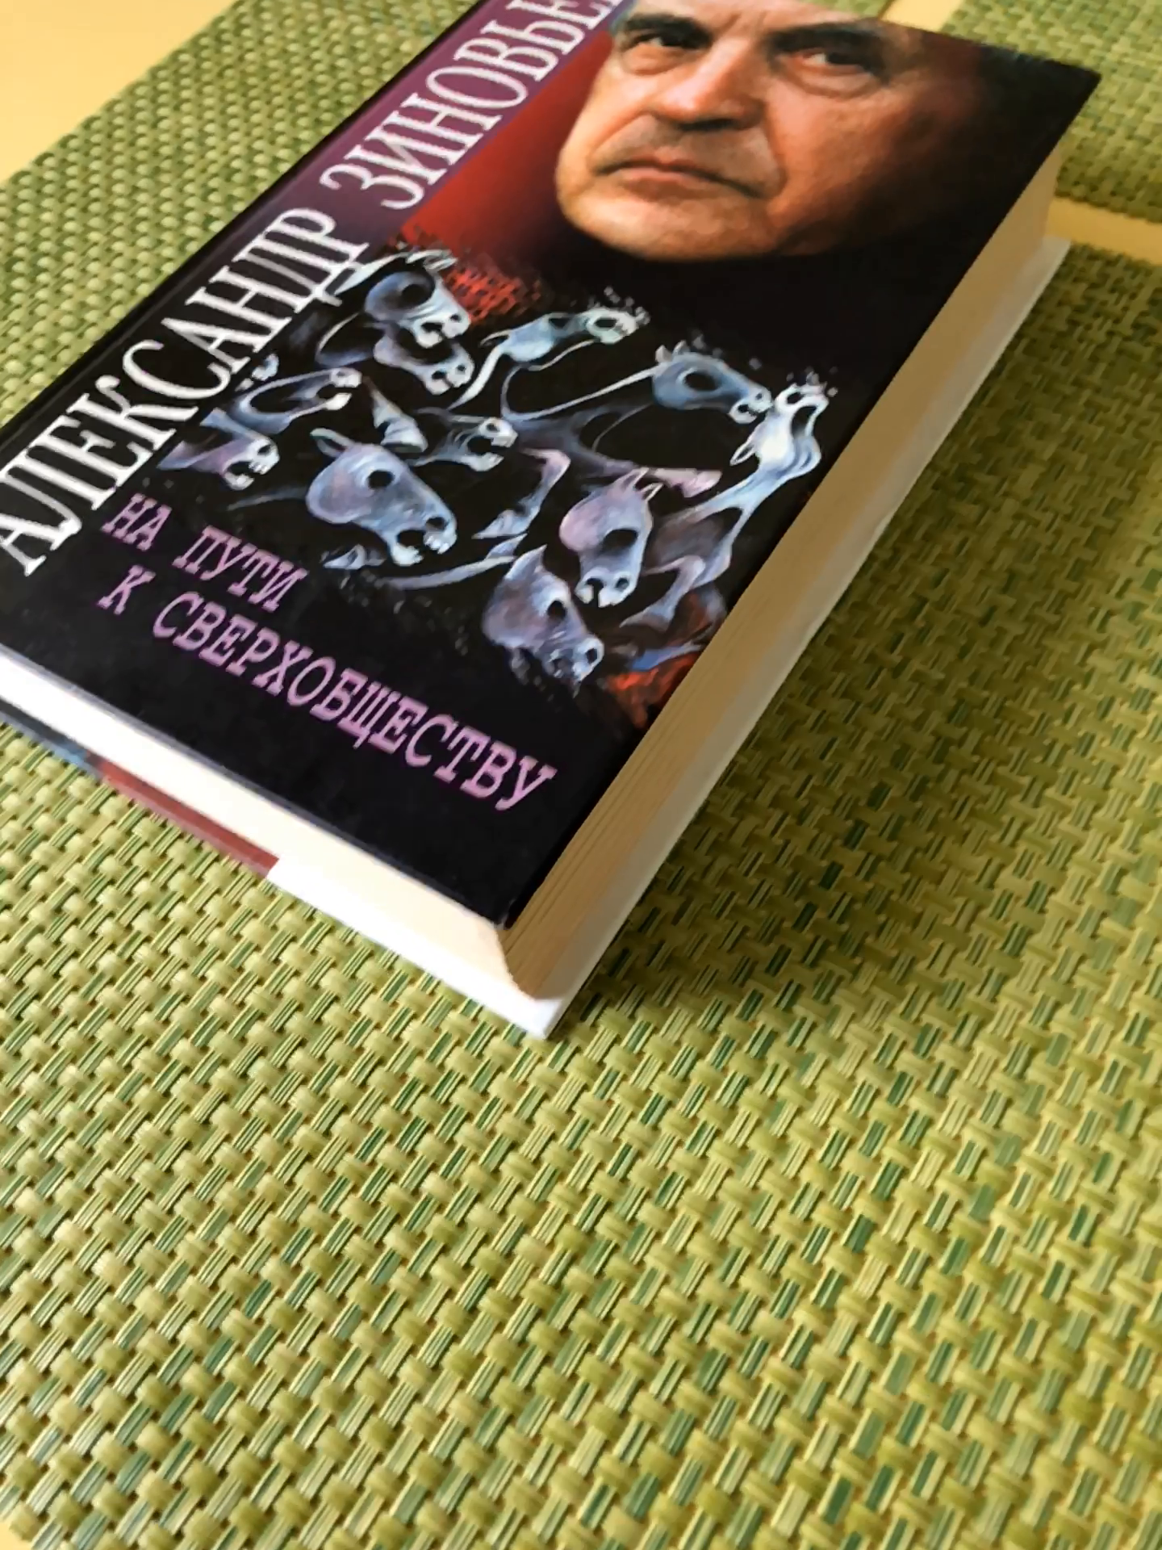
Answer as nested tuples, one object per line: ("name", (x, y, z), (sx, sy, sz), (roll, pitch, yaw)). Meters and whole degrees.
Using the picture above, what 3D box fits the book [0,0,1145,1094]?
("book", (-0.015, -0.072, 0.232), (0.150, 0.040, 0.201), (26, 65, 20))
